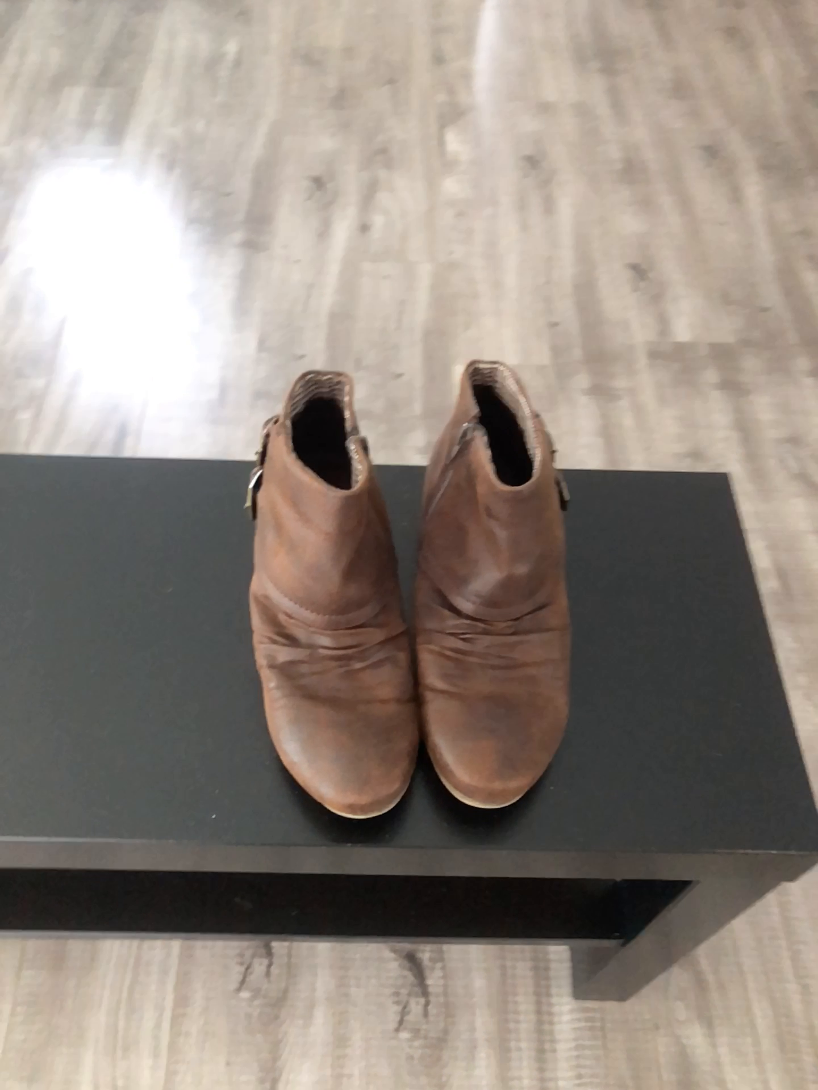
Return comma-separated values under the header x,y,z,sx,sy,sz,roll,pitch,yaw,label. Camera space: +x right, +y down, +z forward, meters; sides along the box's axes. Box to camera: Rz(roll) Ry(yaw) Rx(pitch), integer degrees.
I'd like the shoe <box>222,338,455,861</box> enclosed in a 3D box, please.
x,y,z,sx,sy,sz,roll,pitch,yaw,label
-0.044,0.023,0.482,0.090,0.130,0.241,-5,54,-6,shoe

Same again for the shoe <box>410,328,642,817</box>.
x,y,z,sx,sy,sz,roll,pitch,yaw,label
0.048,0.008,0.482,0.090,0.110,0.241,1,54,-2,shoe
